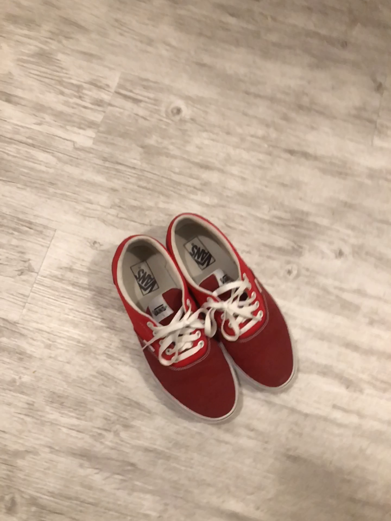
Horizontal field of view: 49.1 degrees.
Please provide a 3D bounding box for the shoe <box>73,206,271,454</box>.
[{"bbox_3d":[-0.034,0.083,0.549,0.110,0.093,0.272,-30,79,-10],"label":"shoe"}]

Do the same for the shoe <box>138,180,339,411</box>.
[{"bbox_3d":[0.046,0.045,0.560,0.110,0.088,0.266,-33,79,-11],"label":"shoe"}]
